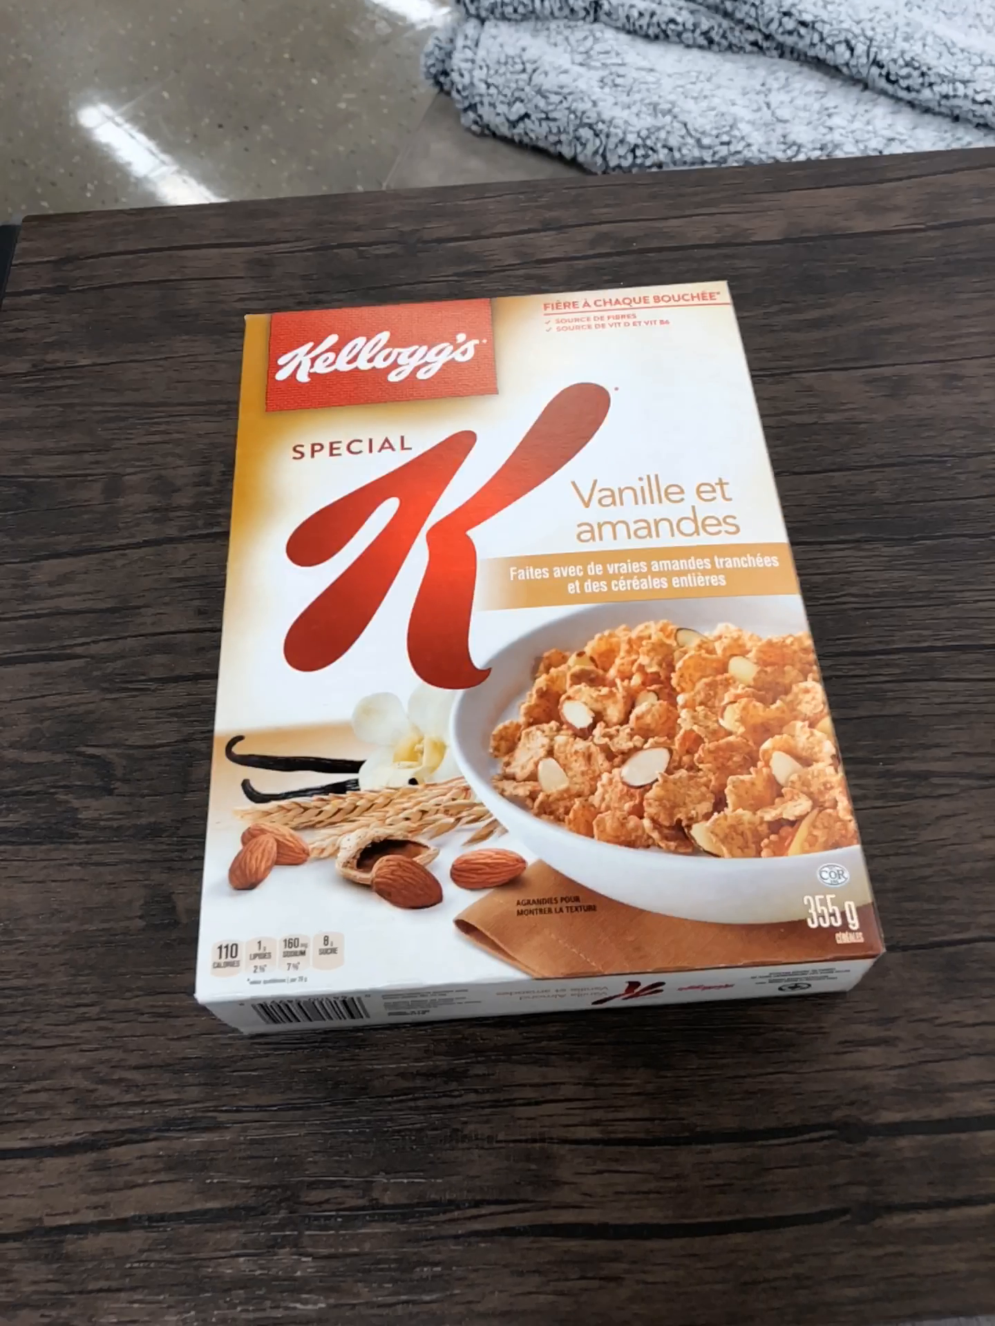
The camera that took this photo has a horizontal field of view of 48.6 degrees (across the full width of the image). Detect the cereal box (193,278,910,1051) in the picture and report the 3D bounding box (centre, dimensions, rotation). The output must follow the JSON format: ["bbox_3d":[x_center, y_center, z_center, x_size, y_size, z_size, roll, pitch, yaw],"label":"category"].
[{"bbox_3d":[0.008,-0.013,0.397,0.200,0.060,0.270,-4,62,0],"label":"cereal box"}]
